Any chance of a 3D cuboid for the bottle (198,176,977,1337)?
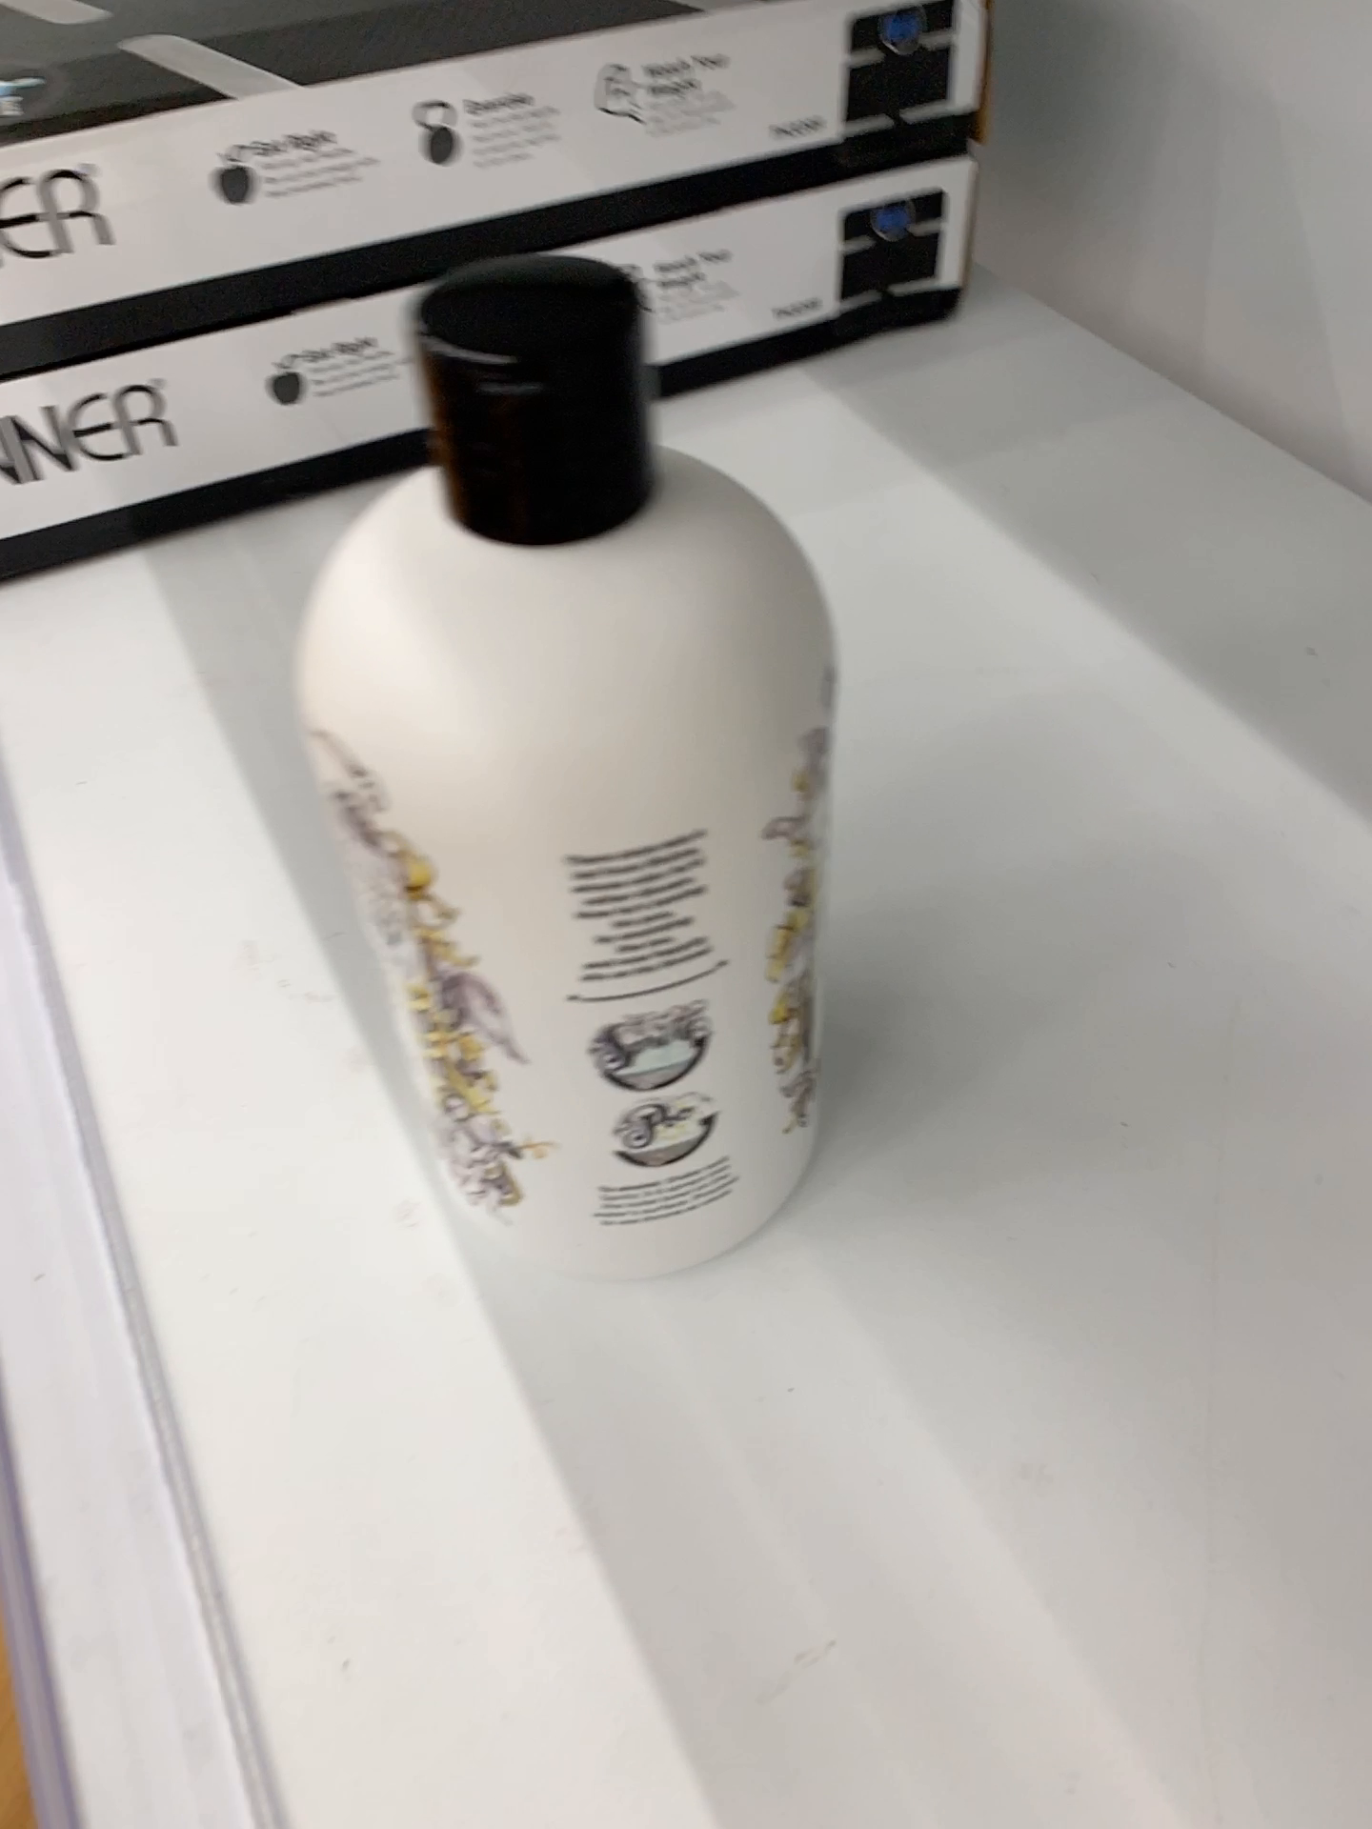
[{"bbox_3d":[-0.013,-0.014,0.218,0.070,0.153,0.073,-1,47,1],"label":"bottle"}]
